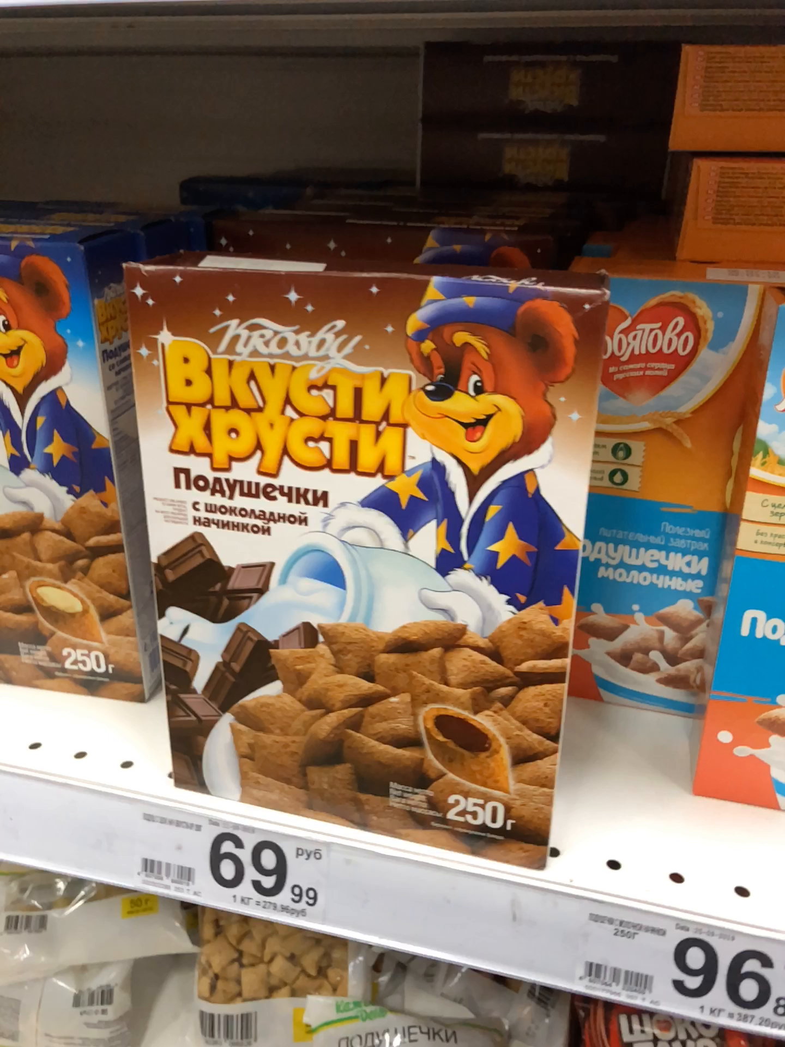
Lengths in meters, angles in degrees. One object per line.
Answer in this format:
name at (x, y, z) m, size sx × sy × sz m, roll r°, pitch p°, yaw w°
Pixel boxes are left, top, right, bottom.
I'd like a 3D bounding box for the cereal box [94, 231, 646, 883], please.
cereal box at (-0.010, 0.013, 0.338) m, size 0.180 × 0.229 × 0.050 m, roll 8°, pitch 23°, yaw 15°
